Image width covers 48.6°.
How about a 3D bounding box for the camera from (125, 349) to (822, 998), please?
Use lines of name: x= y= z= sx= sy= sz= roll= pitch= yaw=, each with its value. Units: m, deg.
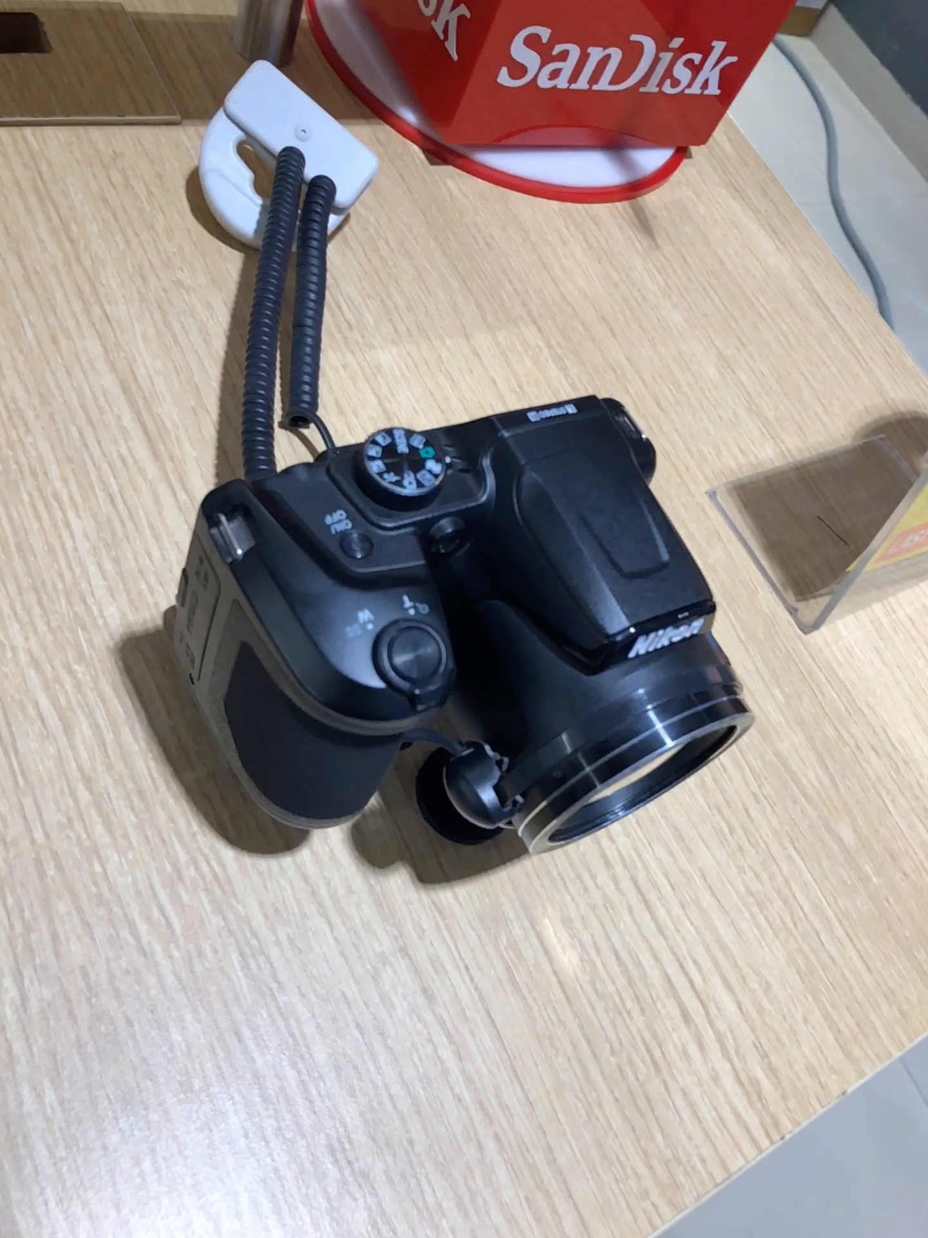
camera: x=-0.003 y=0.008 z=0.224 sx=0.103 sy=0.070 sz=0.093 roll=-19 pitch=70 yaw=-31
